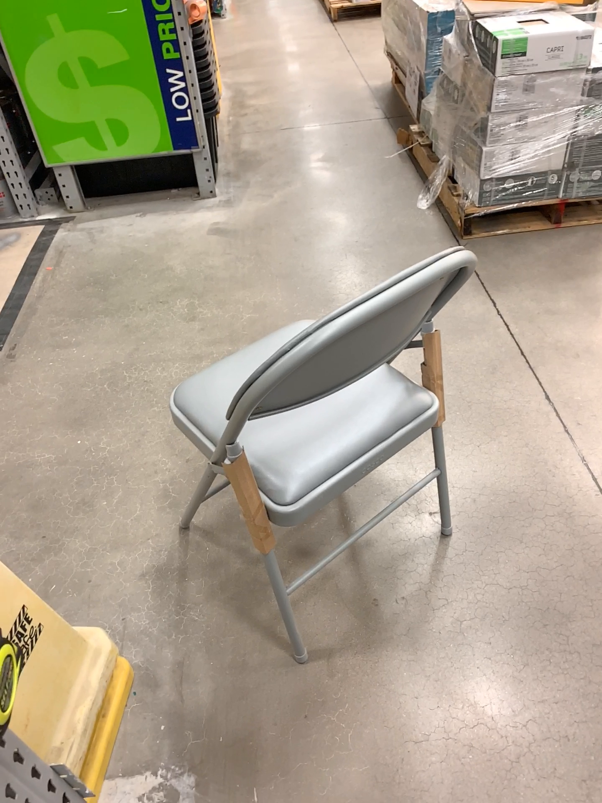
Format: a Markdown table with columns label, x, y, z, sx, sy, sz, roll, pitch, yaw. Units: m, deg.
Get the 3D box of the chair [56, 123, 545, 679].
| label | x | y | z | sx | sy | sz | roll | pitch | yaw |
| --- | --- | --- | --- | --- | --- | --- | --- | --- | --- |
| chair | 0.011 | -0.009 | 1.089 | 0.488 | 0.709 | 0.486 | -32 | 48 | -26 |
